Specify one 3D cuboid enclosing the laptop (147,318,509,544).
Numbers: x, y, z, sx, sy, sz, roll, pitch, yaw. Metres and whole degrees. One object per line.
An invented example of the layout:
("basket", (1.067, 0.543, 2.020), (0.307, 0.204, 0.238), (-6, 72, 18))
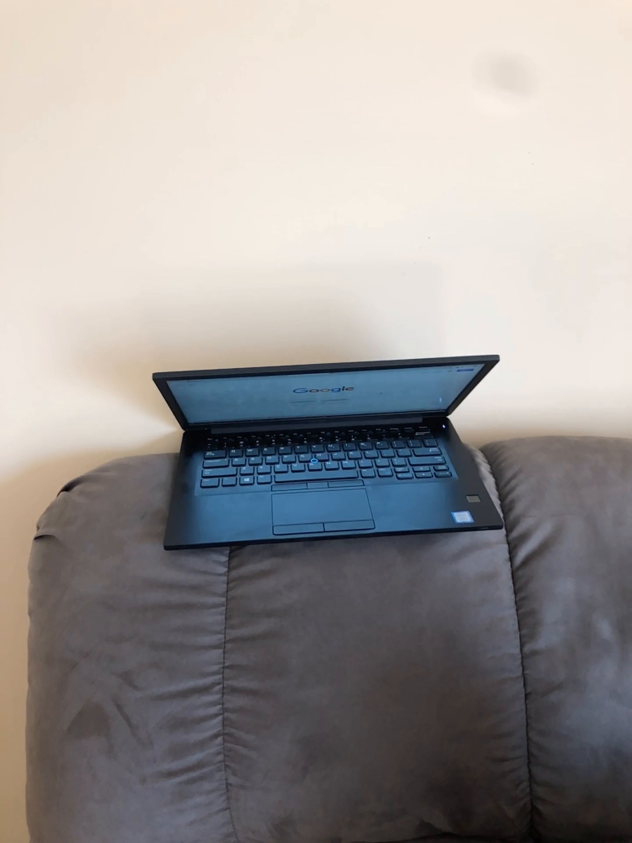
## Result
("laptop", (0.006, -0.003, 0.732), (0.321, 0.128, 0.214), (-3, 27, -3))
